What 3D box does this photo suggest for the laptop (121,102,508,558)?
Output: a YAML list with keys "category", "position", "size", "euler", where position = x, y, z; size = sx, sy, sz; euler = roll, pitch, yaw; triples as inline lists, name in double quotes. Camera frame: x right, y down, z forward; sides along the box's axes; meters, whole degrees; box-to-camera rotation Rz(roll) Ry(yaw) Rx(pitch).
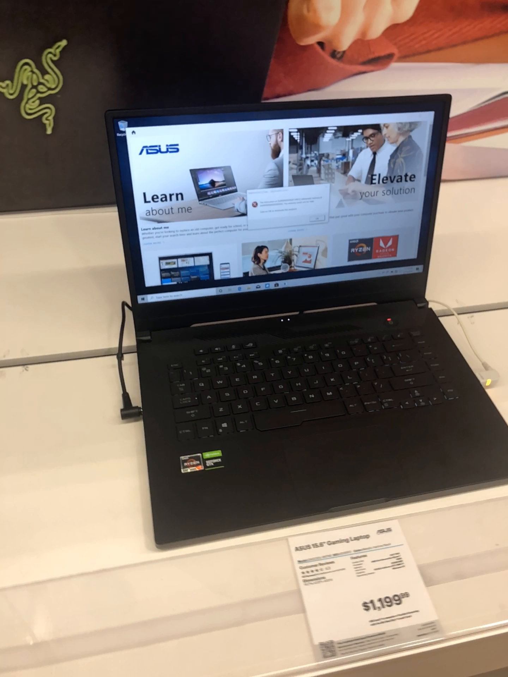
- category: "laptop"
  position: [0.079, -0.033, 0.504]
  size: [0.351, 0.222, 0.311]
  euler: [-7, 45, -10]
